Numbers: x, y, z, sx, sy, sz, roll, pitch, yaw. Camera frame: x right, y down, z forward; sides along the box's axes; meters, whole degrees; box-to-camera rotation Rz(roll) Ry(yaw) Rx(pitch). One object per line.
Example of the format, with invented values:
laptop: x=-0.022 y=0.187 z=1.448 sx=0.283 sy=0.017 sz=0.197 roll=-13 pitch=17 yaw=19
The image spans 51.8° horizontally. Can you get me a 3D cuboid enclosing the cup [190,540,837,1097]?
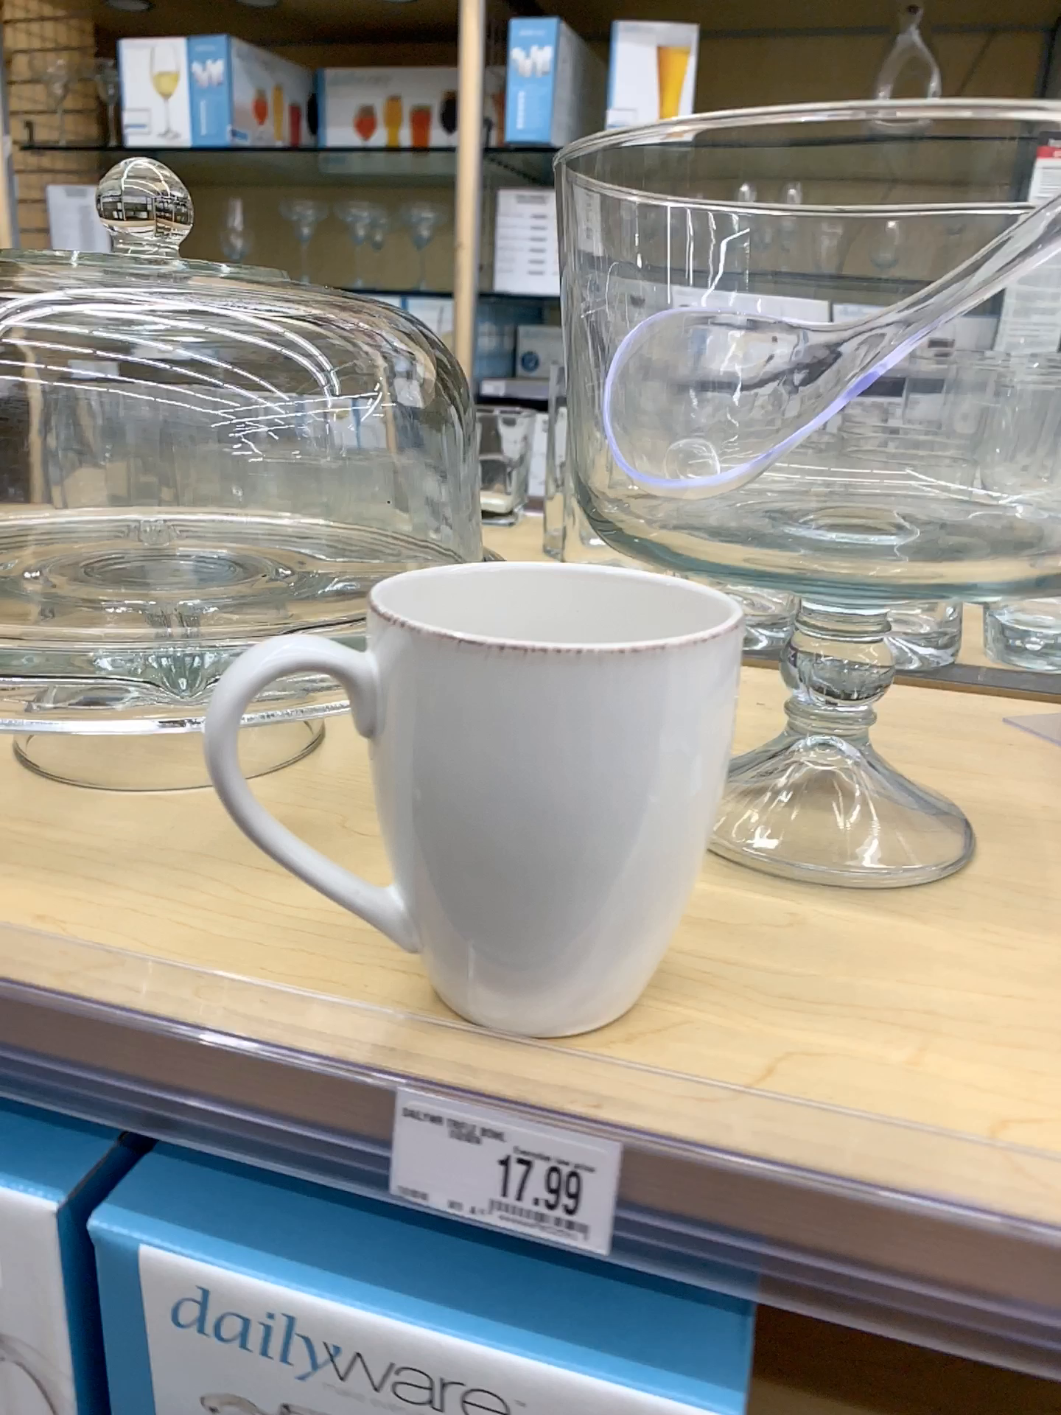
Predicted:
cup: x=-0.012 y=0.016 z=0.278 sx=0.130 sy=0.094 sz=0.096 roll=-5 pitch=22 yaw=-21
